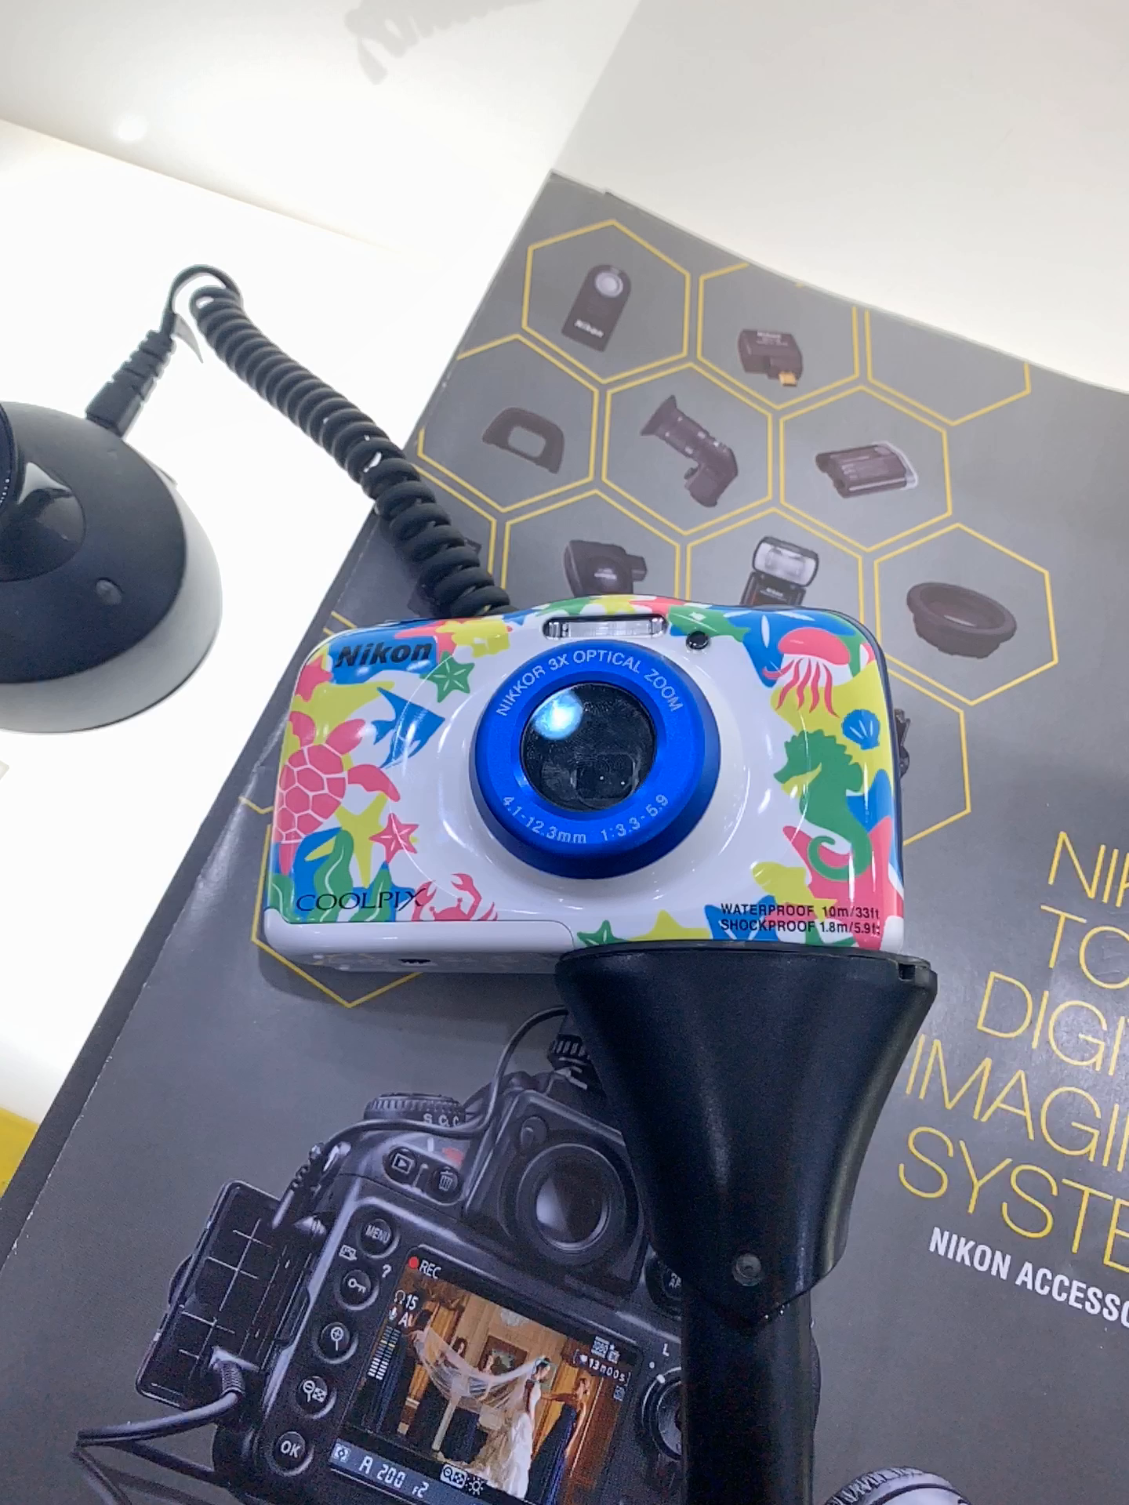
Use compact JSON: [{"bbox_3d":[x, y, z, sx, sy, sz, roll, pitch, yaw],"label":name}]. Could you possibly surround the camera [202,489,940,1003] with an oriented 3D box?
[{"bbox_3d":[0.002,0.000,0.203,0.110,0.030,0.080,-2,65,9],"label":"camera"}]
